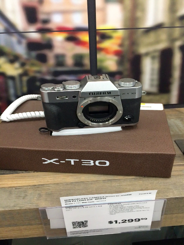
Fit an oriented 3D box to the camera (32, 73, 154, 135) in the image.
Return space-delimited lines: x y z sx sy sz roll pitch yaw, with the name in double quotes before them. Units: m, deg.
"camera" 0.000 -0.028 0.328 0.142 0.056 0.067 -4 34 -4
